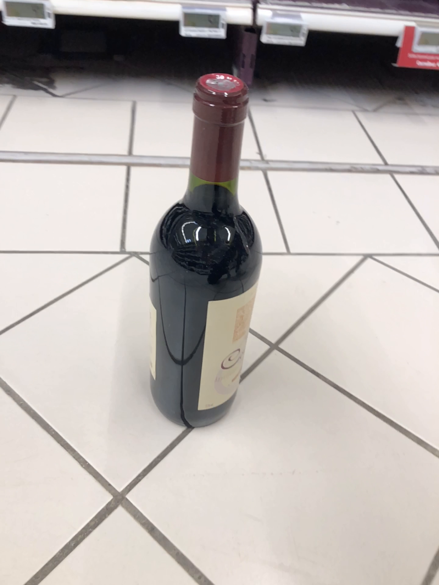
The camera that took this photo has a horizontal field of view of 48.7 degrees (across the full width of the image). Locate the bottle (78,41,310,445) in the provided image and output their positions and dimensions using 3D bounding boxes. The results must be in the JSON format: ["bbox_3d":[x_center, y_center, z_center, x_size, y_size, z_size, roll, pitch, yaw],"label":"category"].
[{"bbox_3d":[-0.017,-0.015,0.325,0.090,0.248,0.091,3,43,-3],"label":"bottle"}]
